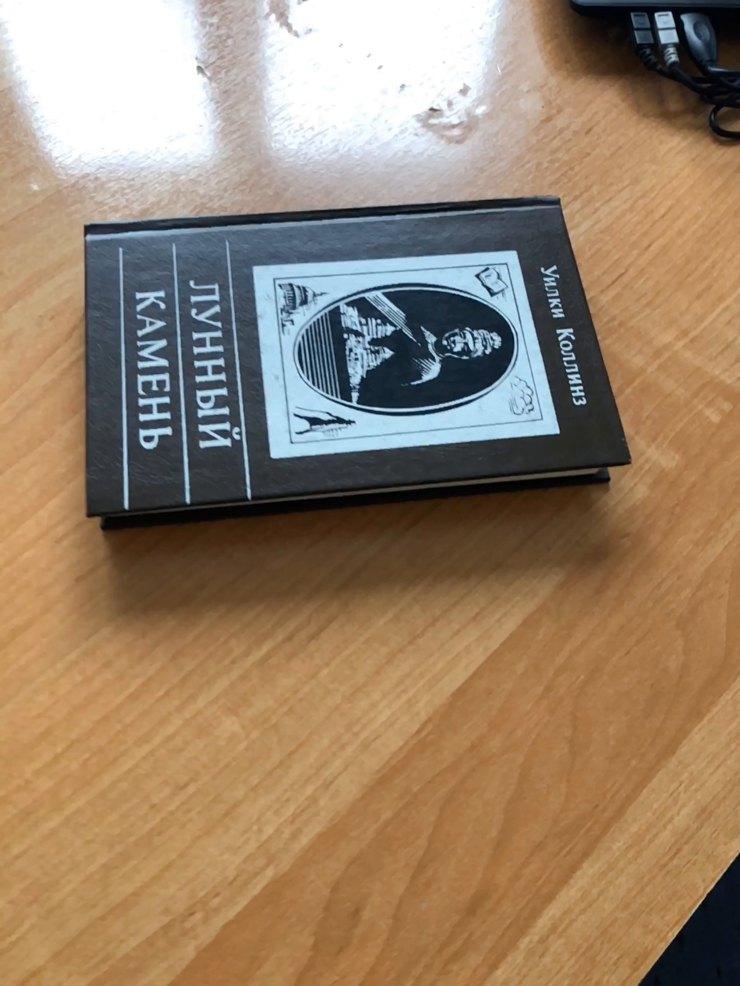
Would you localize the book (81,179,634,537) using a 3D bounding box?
[{"bbox_3d":[-0.010,-0.059,0.335,0.199,0.032,0.133,-5,66,-5],"label":"book"}]
